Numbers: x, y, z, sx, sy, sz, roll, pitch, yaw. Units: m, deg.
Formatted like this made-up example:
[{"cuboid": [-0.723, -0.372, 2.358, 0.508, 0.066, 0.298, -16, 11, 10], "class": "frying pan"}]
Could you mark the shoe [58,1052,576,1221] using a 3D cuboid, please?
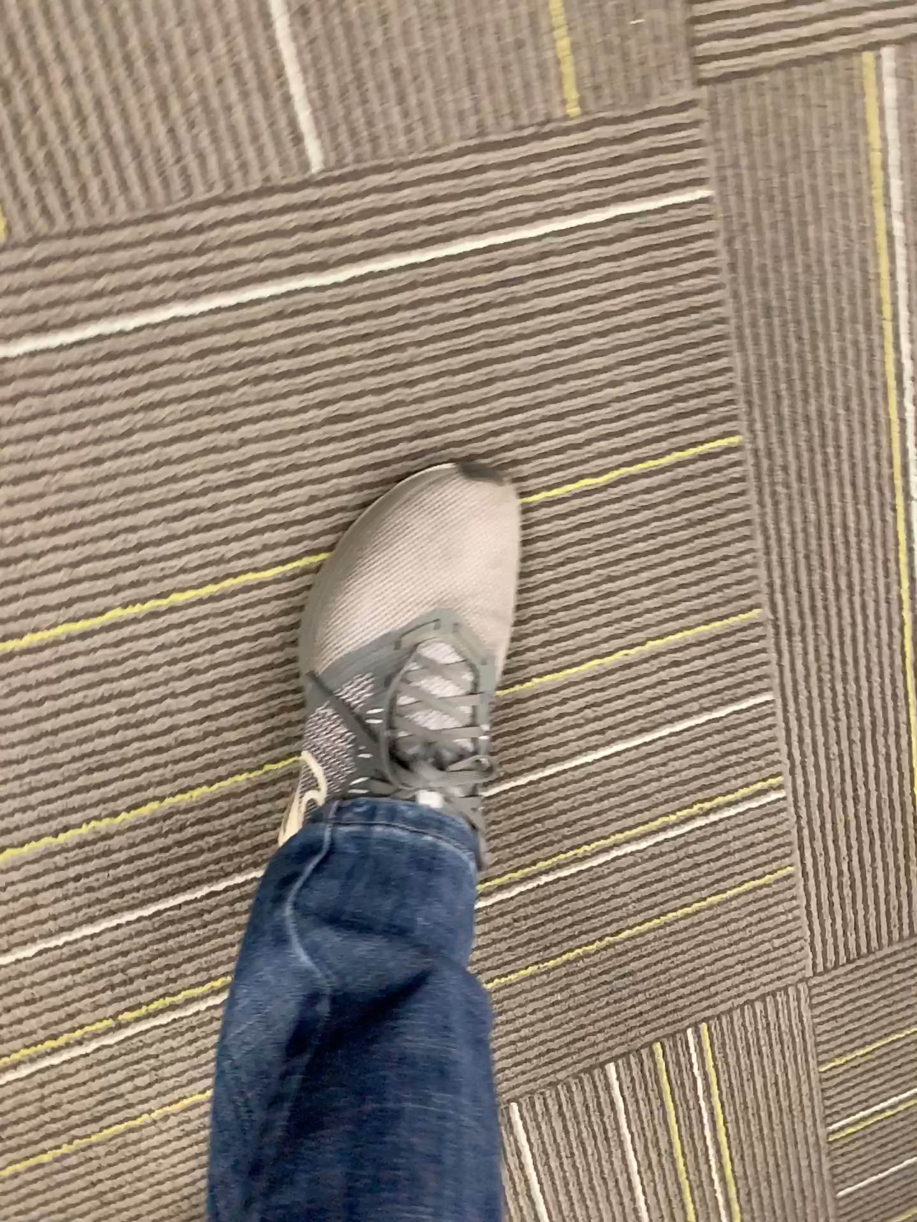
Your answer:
[{"cuboid": [-0.090, 0.453, 0.633, 0.299, 0.093, 0.128, -30, 111, -6], "class": "shoe"}]

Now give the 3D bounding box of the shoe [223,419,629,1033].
[{"cuboid": [-0.030, 0.067, 0.525, 0.131, 0.093, 0.313, 12, 102, -19], "class": "shoe"}]
